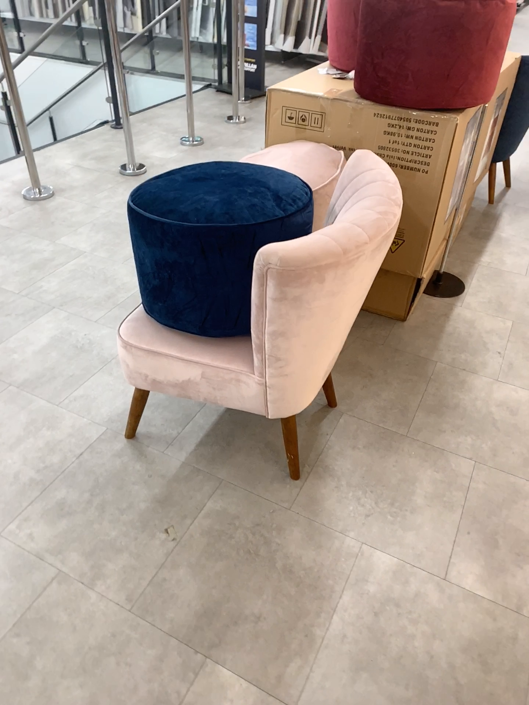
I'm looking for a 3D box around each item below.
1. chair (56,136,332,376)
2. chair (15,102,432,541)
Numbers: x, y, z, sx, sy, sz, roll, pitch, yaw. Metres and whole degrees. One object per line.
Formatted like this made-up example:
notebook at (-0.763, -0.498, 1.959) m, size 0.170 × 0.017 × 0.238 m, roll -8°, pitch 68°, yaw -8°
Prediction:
chair at (-0.163, -0.295, 1.455) m, size 0.505 × 0.363 × 0.478 m, roll 20°, pitch 42°, yaw 22°
chair at (-0.065, -0.129, 1.518) m, size 0.745 × 0.848 × 0.660 m, roll 18°, pitch 41°, yaw 20°
